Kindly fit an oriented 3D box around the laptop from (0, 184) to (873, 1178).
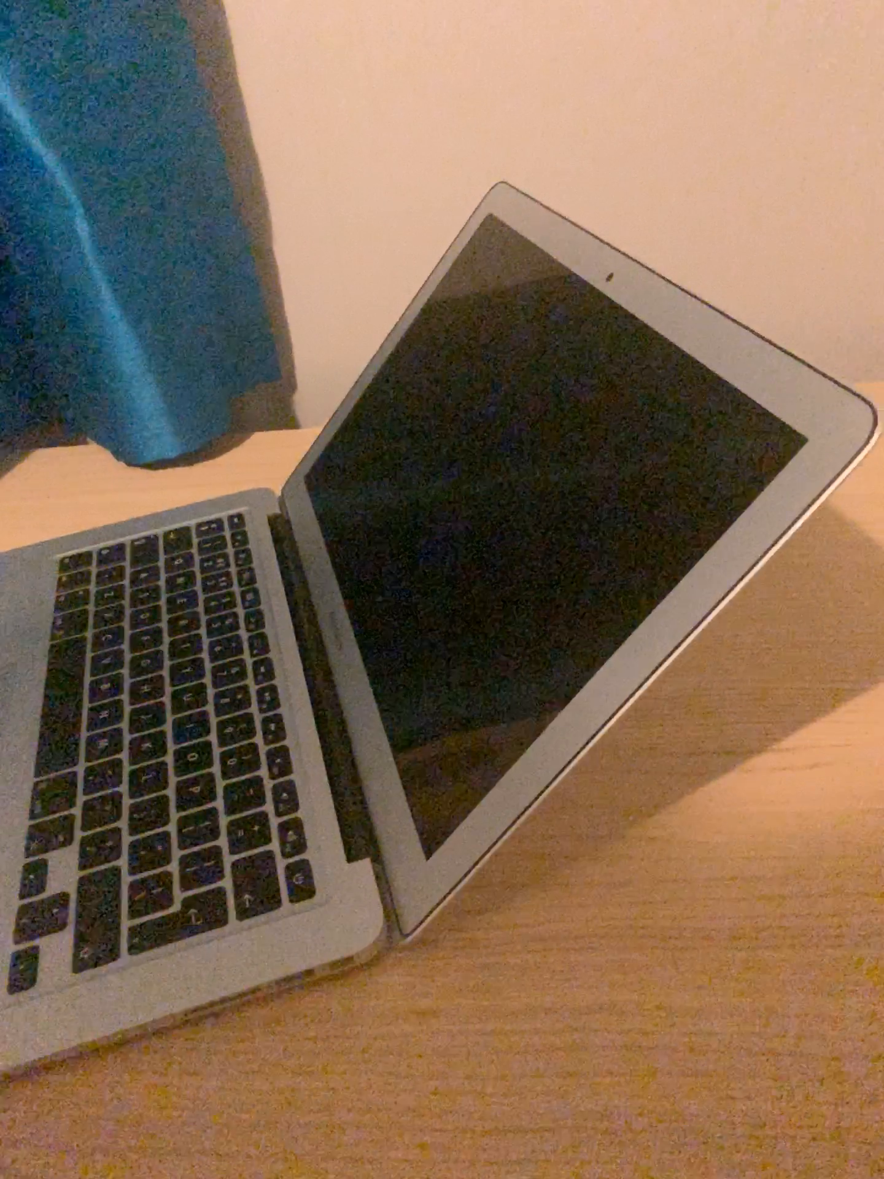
[{"bbox_3d":[-0.098,-0.023,0.365,0.368,0.144,0.304,-15,36,-10],"label":"laptop"}]
